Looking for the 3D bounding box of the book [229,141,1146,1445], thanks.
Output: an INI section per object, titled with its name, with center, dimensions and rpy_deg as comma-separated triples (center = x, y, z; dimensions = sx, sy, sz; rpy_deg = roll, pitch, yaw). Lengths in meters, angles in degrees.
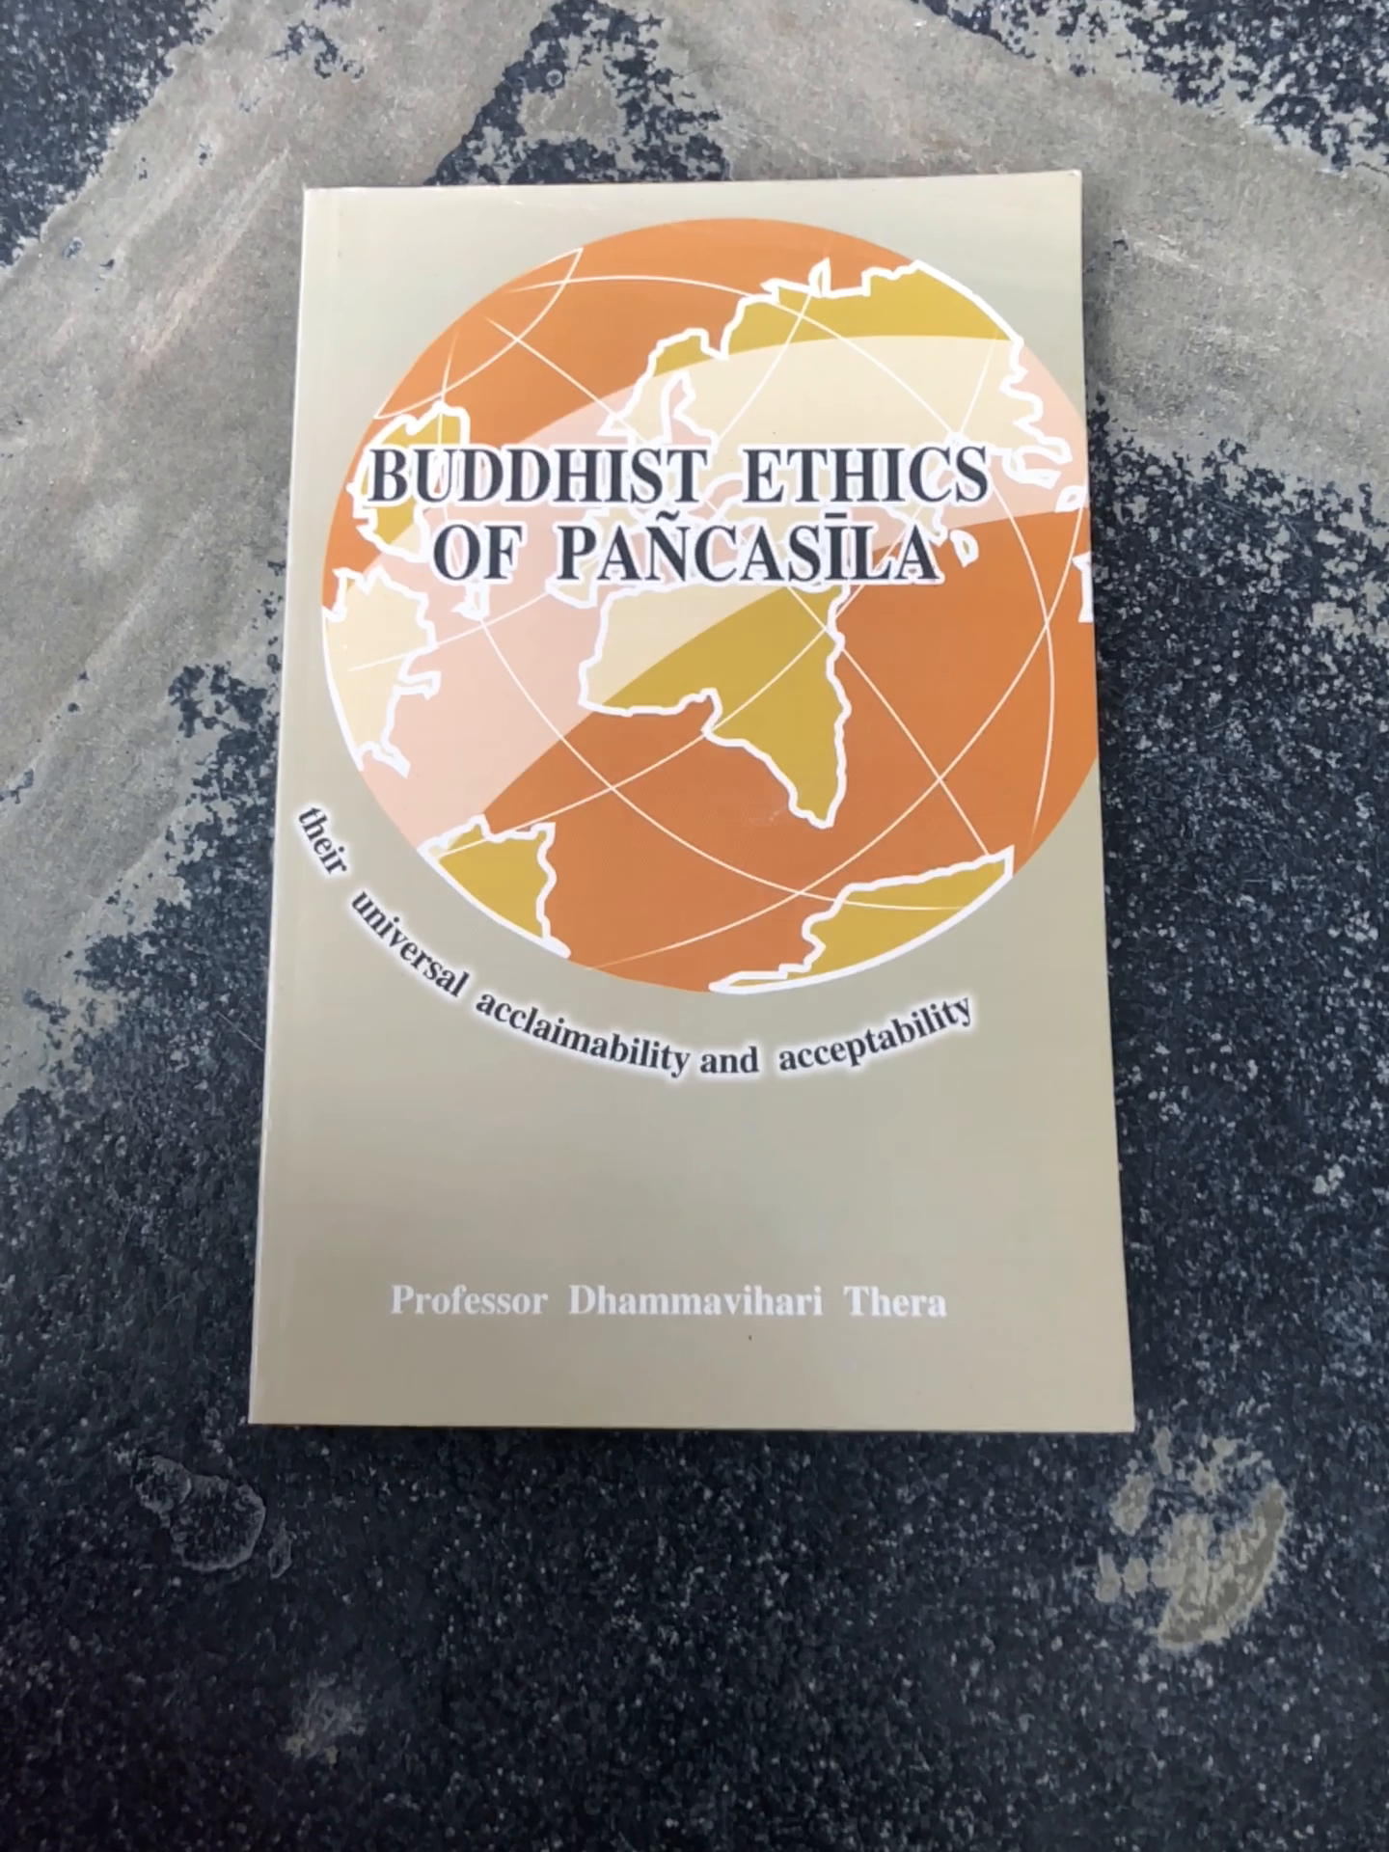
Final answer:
[book]
center = -0.003, -0.029, 0.260
dimensions = 0.140, 0.010, 0.220
rpy_deg = -1, 80, 0
